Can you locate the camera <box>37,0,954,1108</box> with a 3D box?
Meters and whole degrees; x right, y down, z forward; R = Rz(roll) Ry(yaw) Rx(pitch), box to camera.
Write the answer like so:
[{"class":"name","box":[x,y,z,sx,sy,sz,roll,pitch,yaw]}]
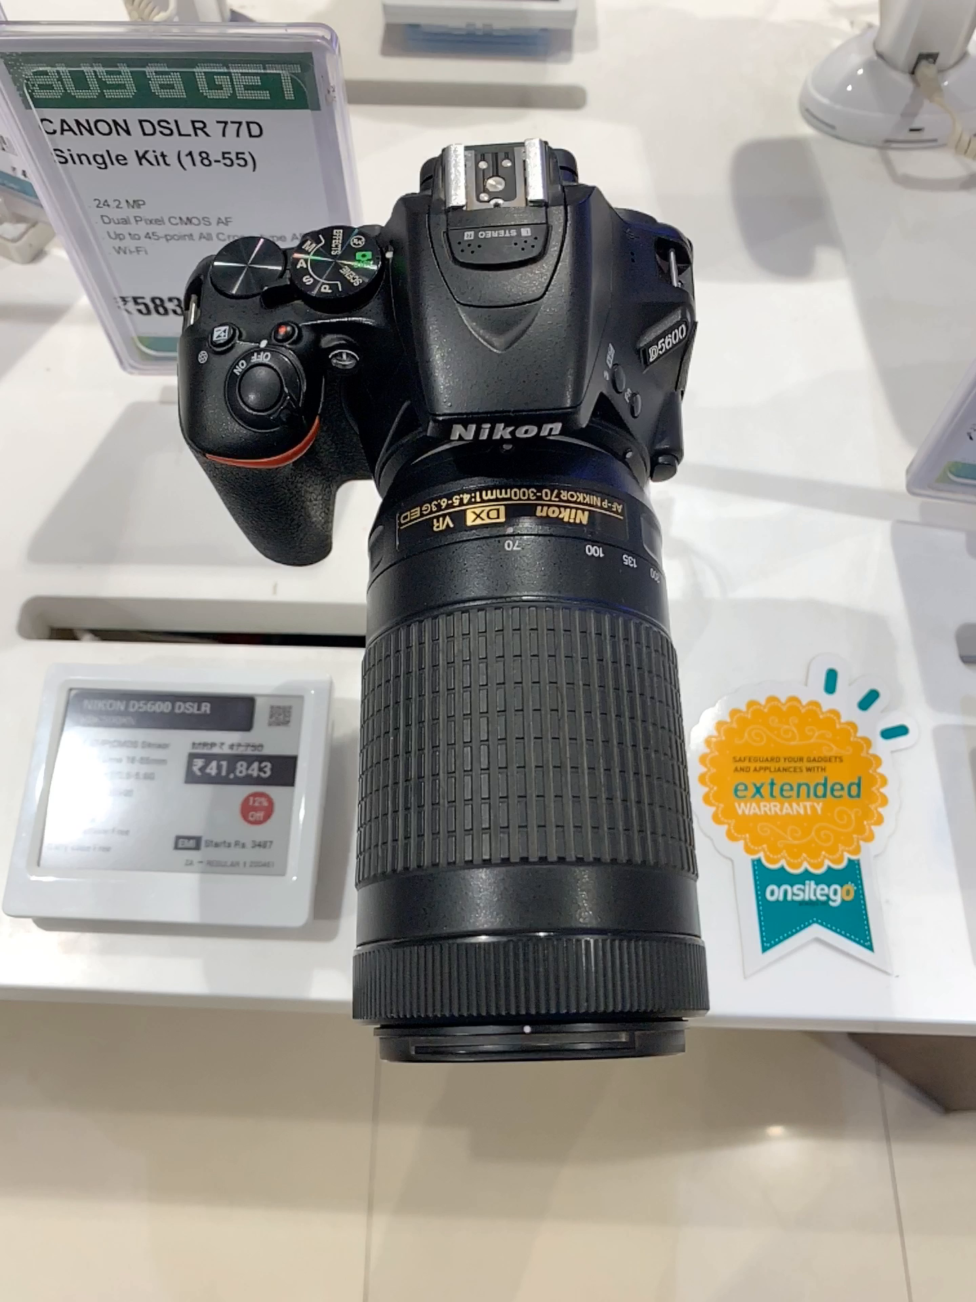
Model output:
[{"class":"camera","box":[-0.002,-0.048,0.240,0.130,0.080,0.280,-1,64,-1]}]
